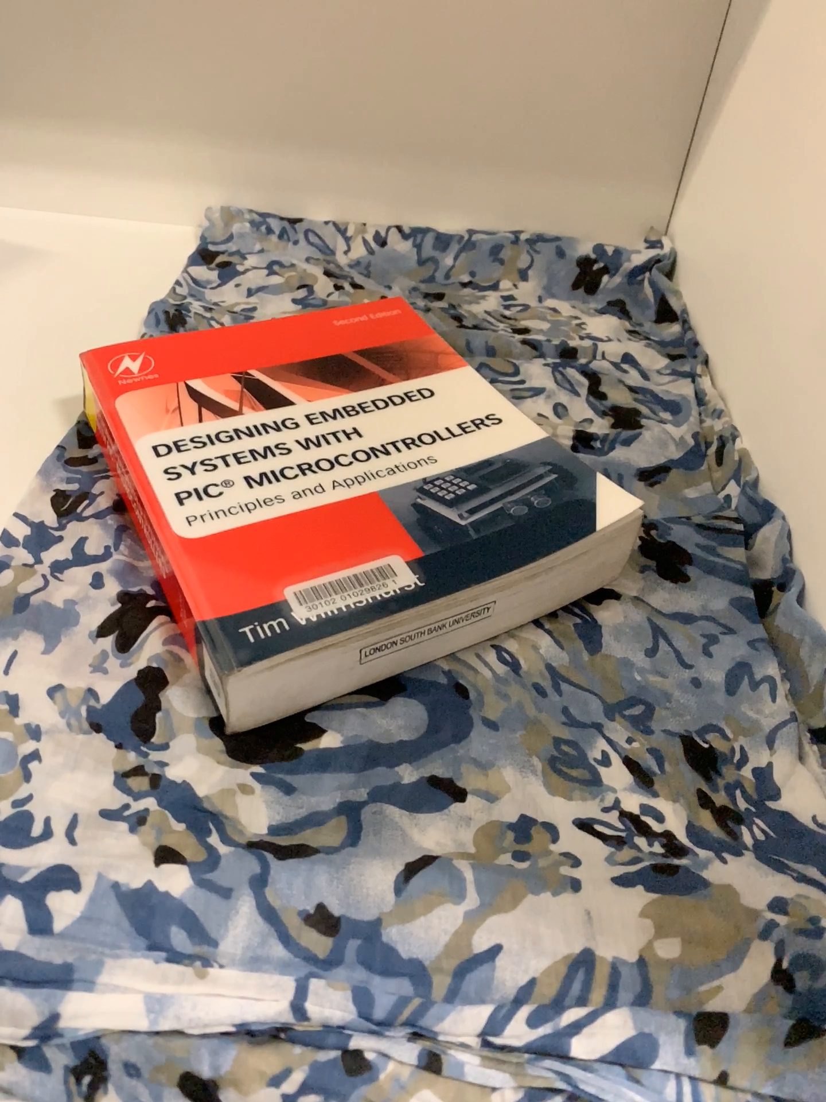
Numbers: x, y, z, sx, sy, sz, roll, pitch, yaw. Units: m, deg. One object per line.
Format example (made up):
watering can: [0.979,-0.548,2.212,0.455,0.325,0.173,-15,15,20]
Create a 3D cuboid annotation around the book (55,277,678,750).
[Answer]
book: [-0.036,-0.047,0.414,0.210,0.050,0.238,-17,46,-23]
